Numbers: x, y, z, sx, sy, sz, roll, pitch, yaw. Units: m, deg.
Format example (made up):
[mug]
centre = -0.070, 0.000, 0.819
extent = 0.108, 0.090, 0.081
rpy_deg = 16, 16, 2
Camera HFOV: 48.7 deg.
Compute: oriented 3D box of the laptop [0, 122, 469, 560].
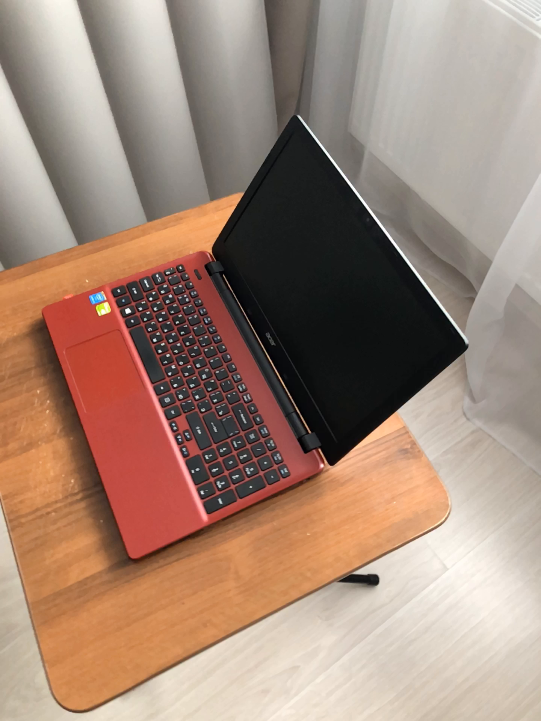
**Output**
[laptop]
centre = -0.063, -0.039, 0.703
extent = 0.381, 0.191, 0.372
rpy_deg = -22, 62, -13
